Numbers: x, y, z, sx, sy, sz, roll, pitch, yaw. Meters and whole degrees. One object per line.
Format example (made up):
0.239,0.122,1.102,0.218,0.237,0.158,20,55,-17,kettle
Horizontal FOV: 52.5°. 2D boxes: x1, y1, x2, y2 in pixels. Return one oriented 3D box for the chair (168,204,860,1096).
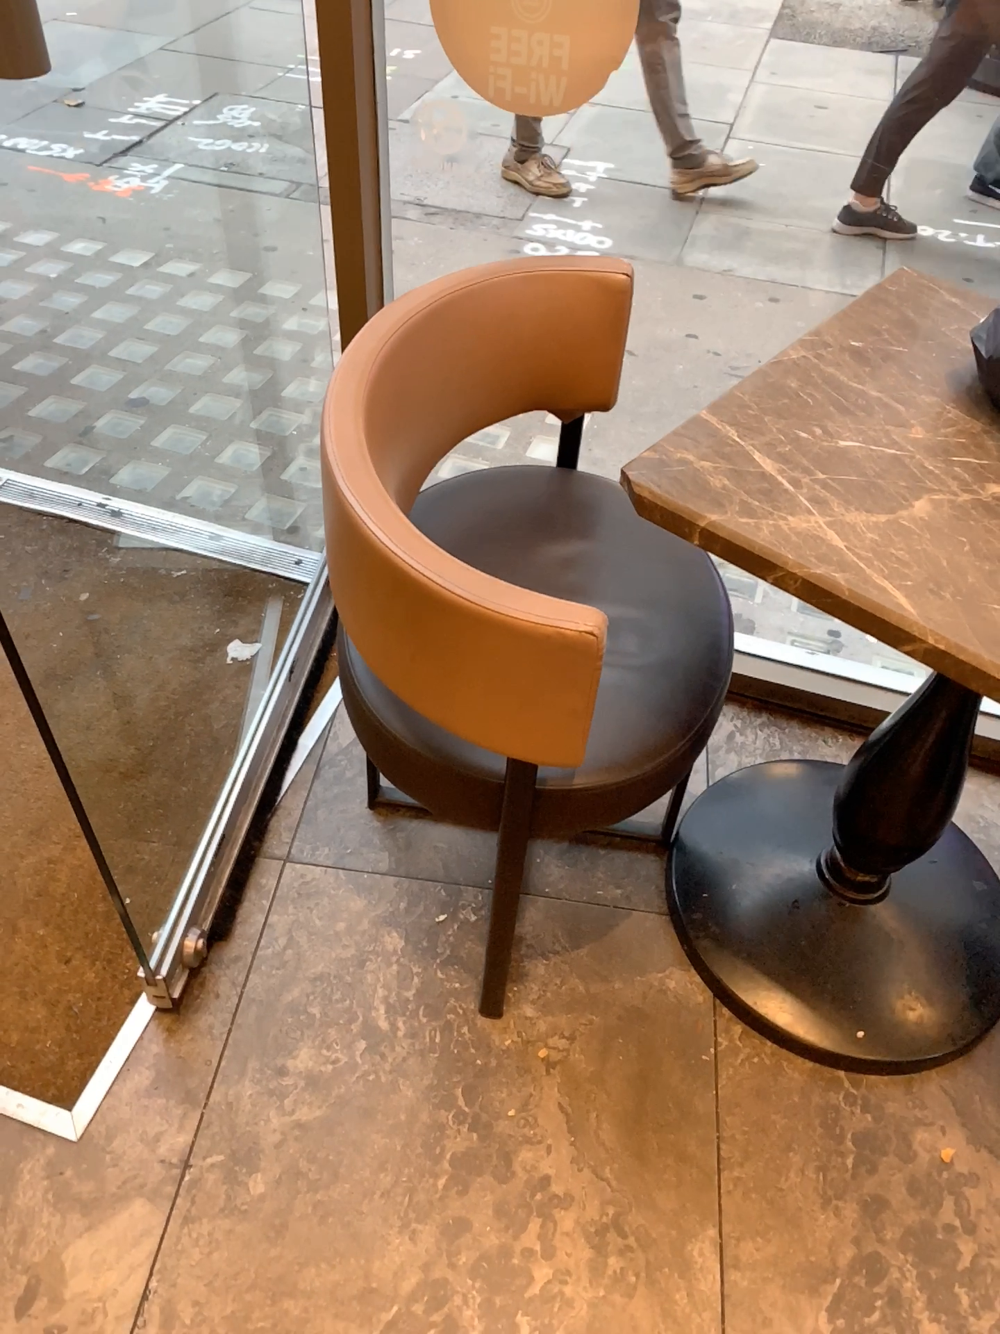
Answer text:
0.075,-0.052,1.241,0.510,0.654,0.767,13,46,9,chair
